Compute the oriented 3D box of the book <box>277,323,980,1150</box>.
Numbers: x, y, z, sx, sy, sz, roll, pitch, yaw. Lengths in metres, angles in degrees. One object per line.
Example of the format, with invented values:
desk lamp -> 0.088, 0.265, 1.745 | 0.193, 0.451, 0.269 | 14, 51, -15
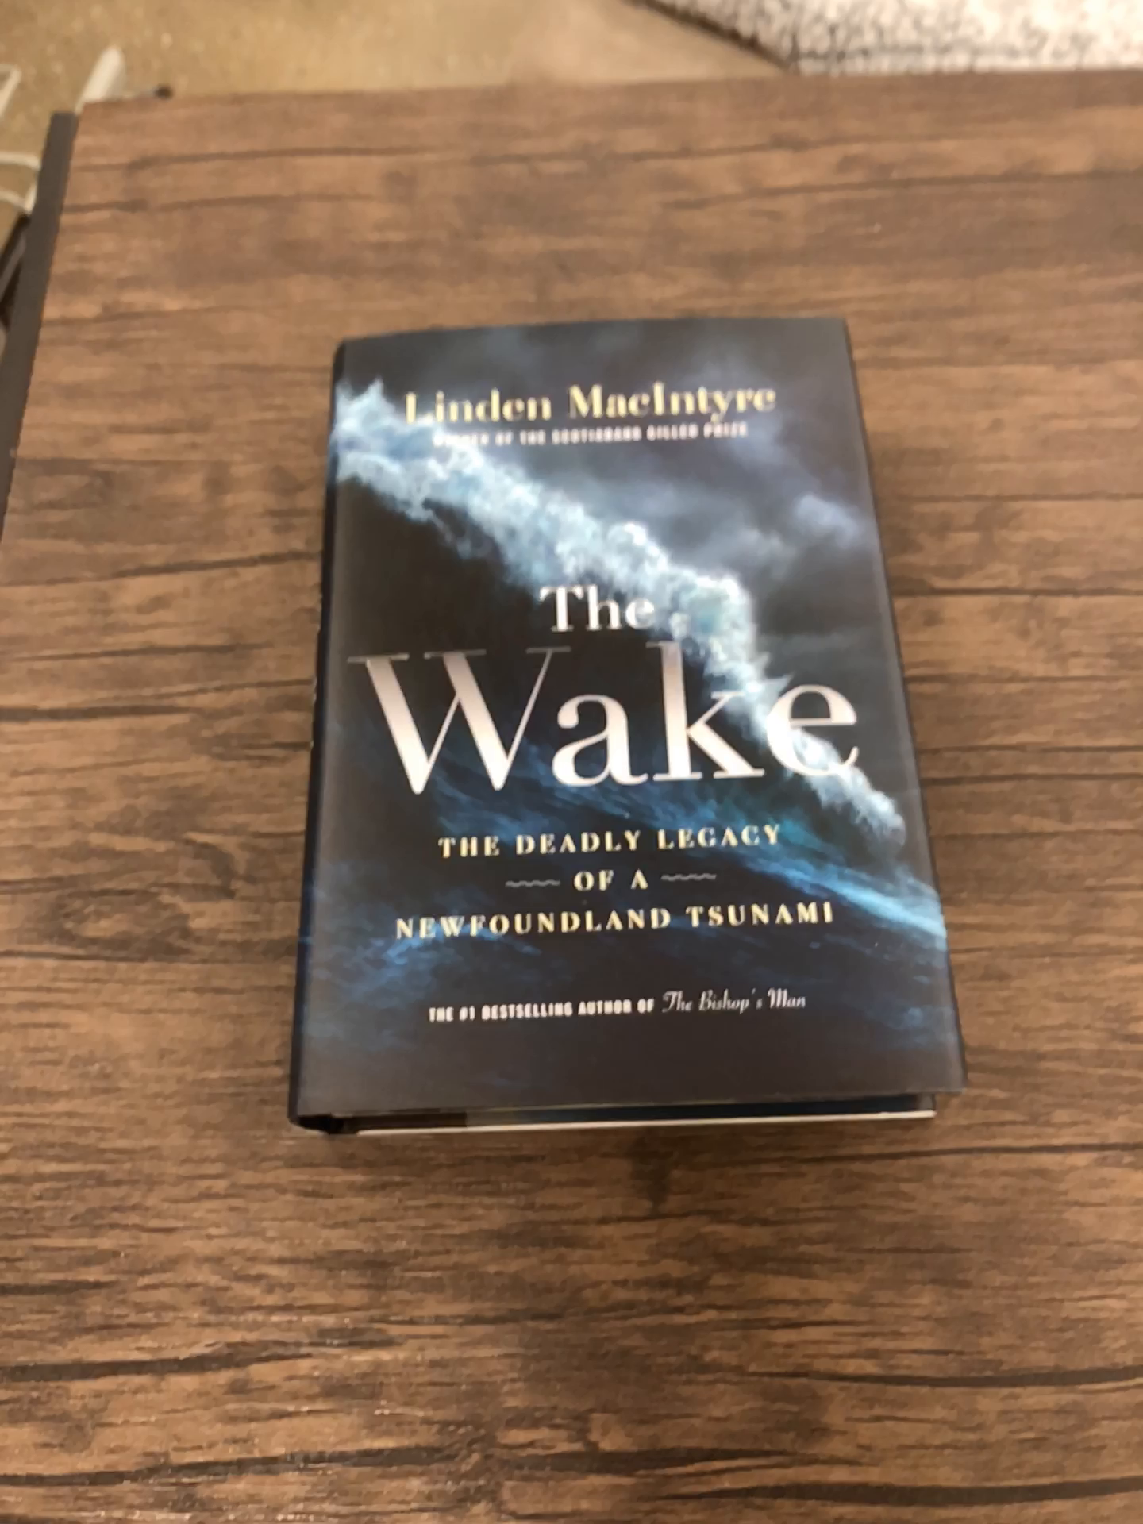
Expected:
book -> 0.011, -0.015, 0.362 | 0.160, 0.050, 0.230 | -2, 66, 1
